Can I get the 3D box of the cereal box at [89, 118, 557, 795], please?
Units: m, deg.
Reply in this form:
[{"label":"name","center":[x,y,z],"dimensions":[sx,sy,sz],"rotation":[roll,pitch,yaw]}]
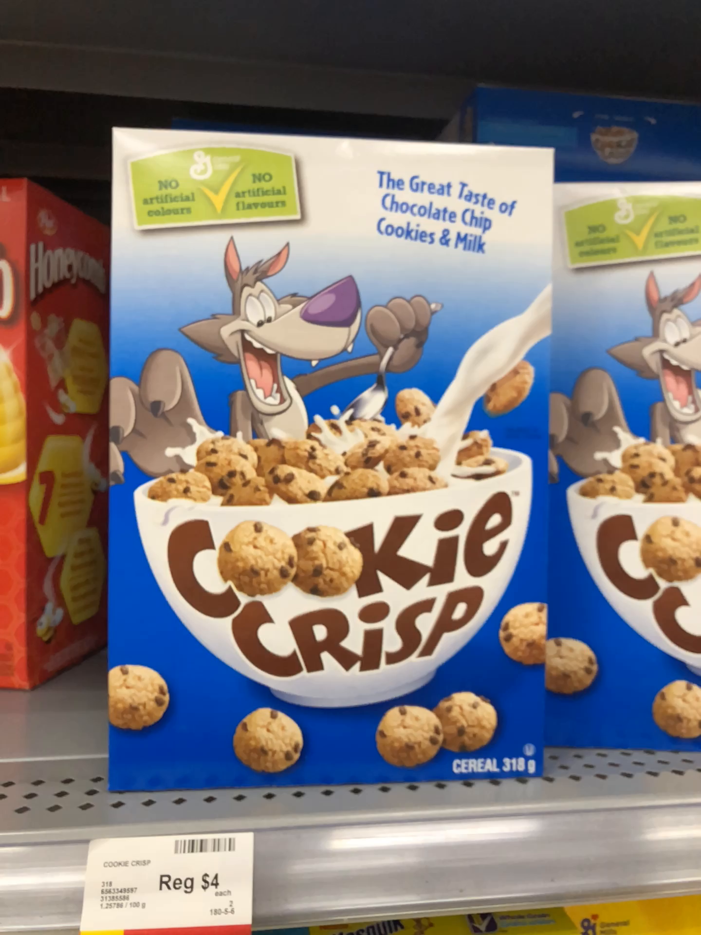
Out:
[{"label":"cereal box","center":[-0.012,-0.004,0.361],"dimensions":[0.200,0.280,0.050],"rotation":[0,2,-8]}]
